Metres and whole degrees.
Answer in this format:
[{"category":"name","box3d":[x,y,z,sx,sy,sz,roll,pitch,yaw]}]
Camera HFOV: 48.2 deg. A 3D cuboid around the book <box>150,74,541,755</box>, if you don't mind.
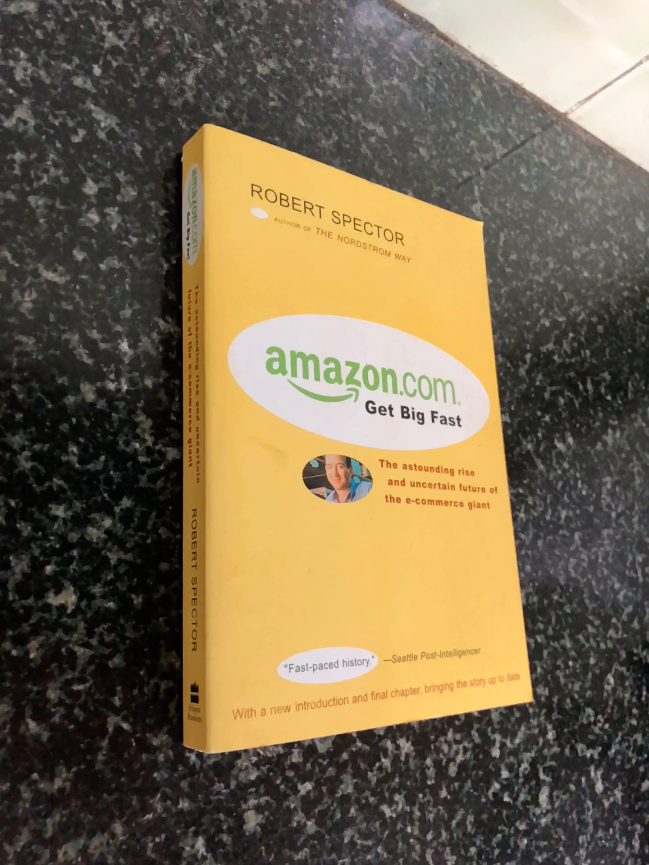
[{"category":"book","box3d":[0.010,-0.007,0.267,0.141,0.030,0.210,7,73,-35]}]
